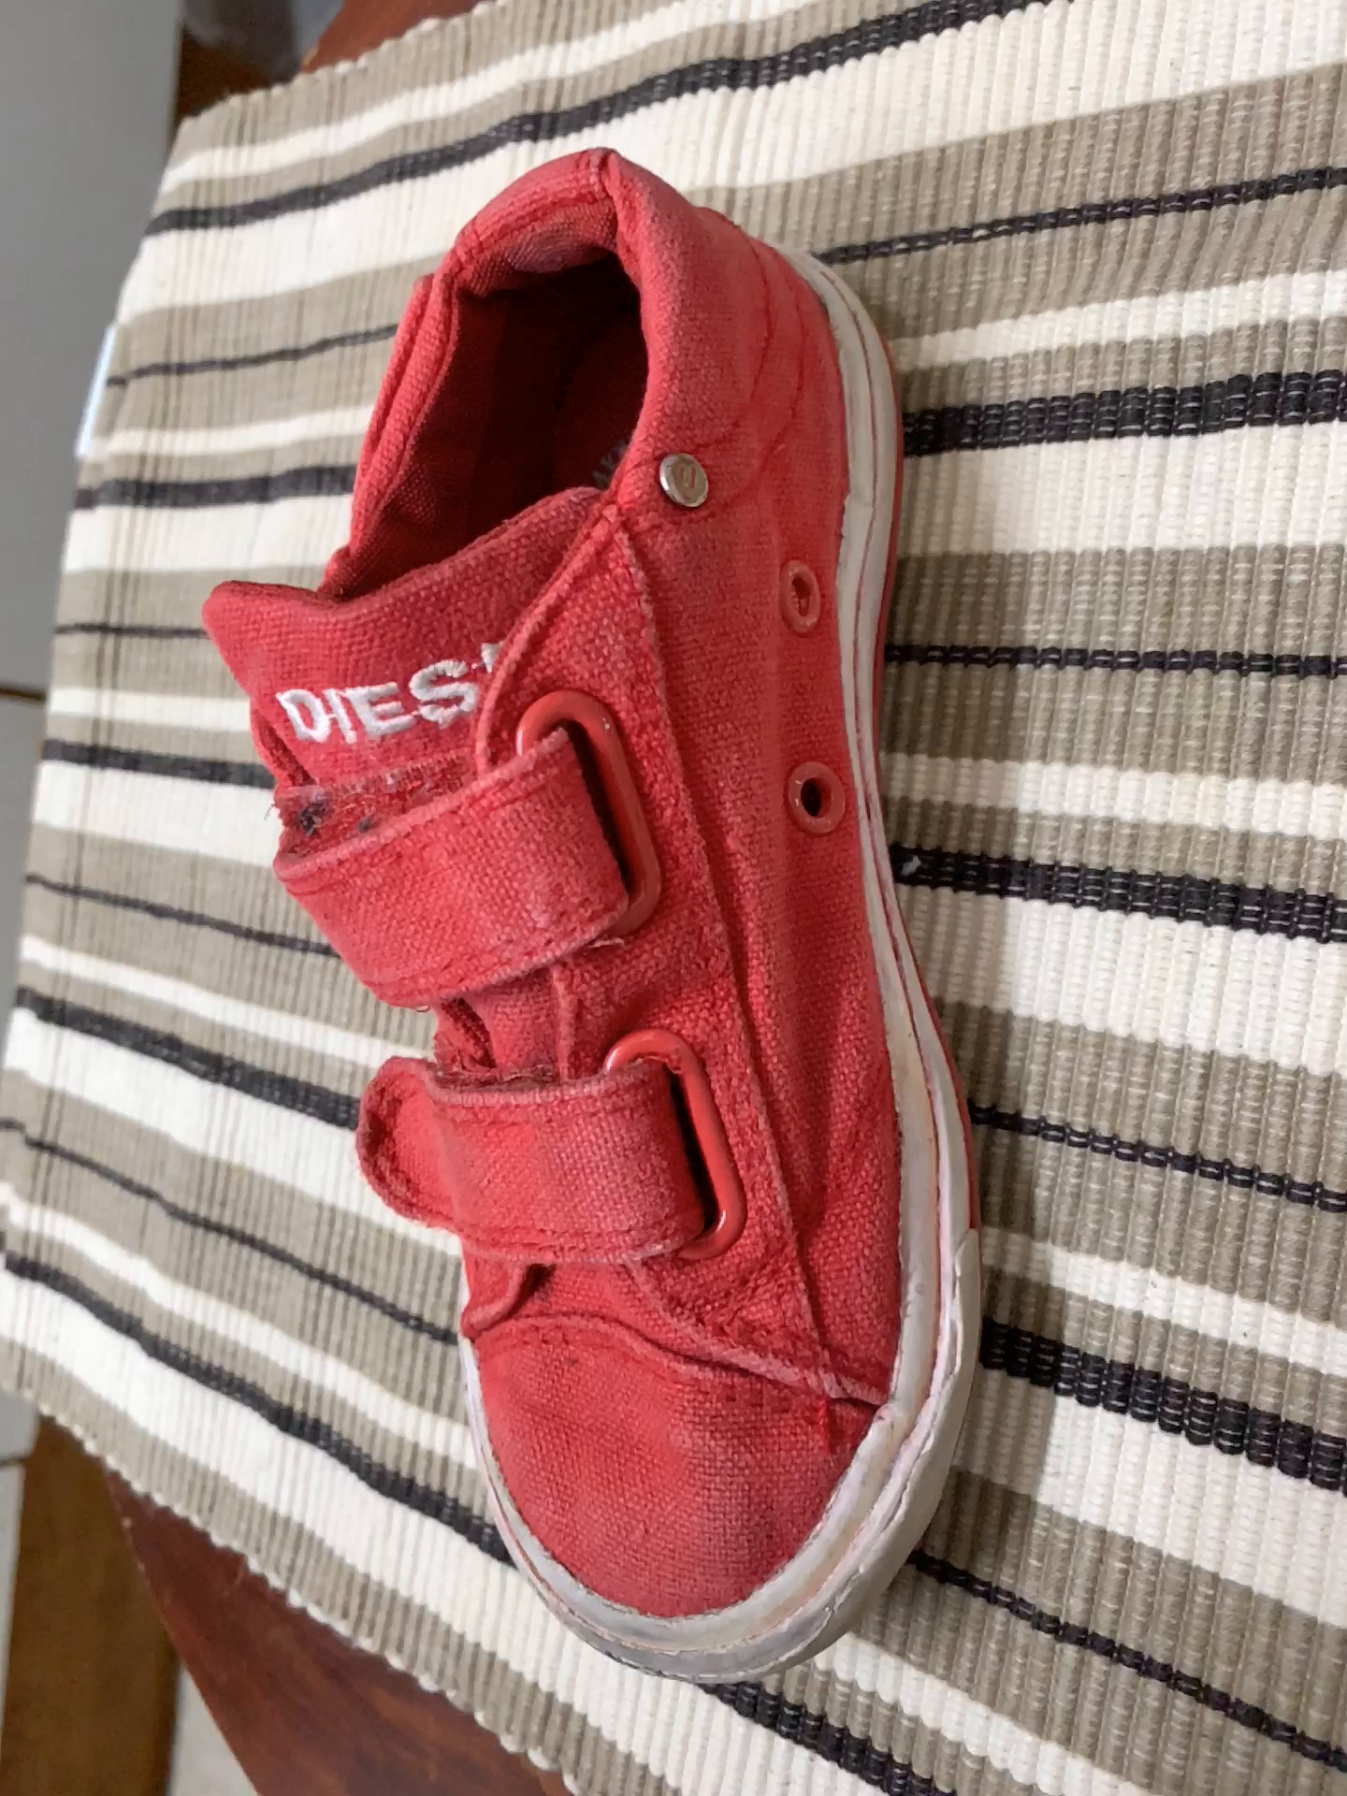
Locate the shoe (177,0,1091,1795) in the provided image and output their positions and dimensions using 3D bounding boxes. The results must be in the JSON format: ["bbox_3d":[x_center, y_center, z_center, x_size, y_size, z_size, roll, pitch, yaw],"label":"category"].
[{"bbox_3d":[-0.004,-0.007,0.172,0.080,0.070,0.170,-4,83,38],"label":"shoe"}]
